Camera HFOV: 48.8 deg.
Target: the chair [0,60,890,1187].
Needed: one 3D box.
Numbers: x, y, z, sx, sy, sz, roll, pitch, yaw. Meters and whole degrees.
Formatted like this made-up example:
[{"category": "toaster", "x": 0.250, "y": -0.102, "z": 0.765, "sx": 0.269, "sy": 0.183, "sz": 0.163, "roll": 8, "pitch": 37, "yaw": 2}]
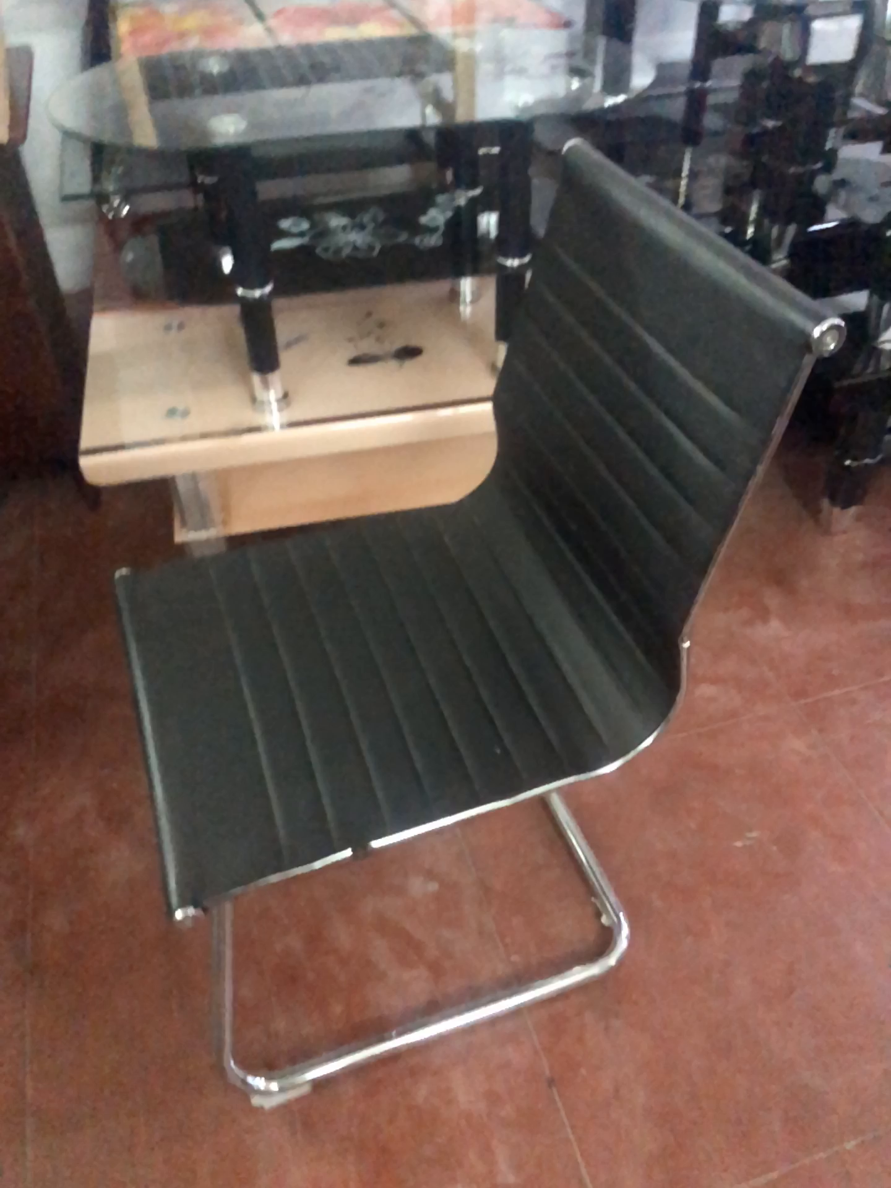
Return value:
[{"category": "chair", "x": -0.078, "y": 0.028, "z": 1.007, "sx": 0.681, "sy": 0.855, "sz": 0.592, "roll": -14, "pitch": 43, "yaw": -15}]
